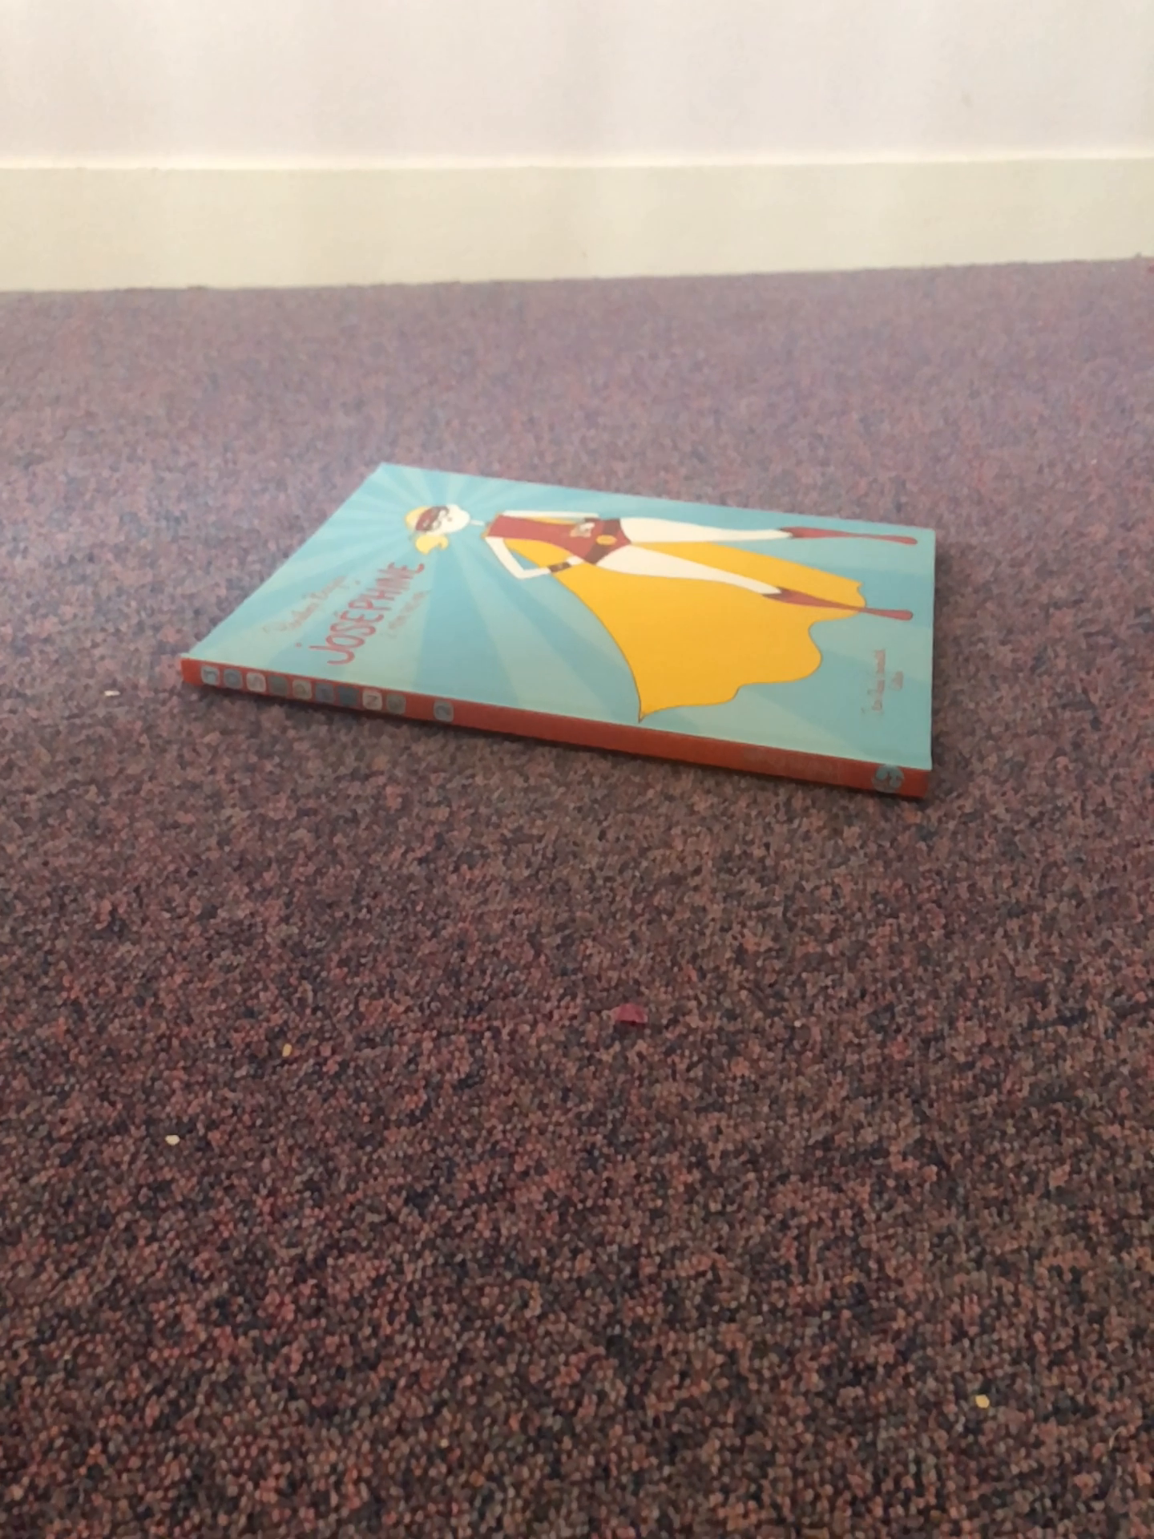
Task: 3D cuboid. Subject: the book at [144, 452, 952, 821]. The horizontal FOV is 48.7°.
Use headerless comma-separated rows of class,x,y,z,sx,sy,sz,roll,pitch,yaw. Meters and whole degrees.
book,0.008,-0.076,0.569,0.306,0.020,0.235,9,34,10
